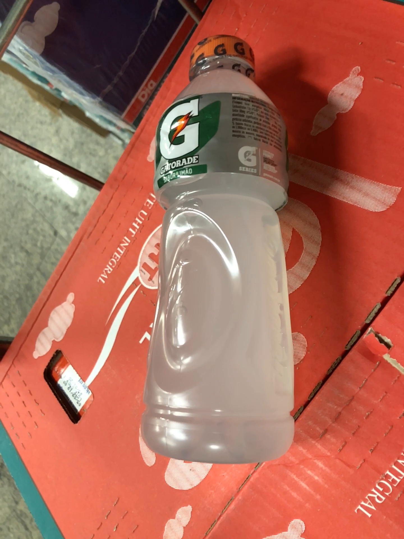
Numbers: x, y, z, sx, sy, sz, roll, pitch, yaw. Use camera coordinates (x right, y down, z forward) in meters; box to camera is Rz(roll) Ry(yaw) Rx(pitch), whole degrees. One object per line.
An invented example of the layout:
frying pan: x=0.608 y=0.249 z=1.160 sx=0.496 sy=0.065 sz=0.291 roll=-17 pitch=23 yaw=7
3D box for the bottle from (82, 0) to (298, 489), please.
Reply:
bottle: x=-0.001 y=-0.020 z=0.217 sx=0.070 sy=0.060 sz=0.210 roll=-7 pitch=74 yaw=33

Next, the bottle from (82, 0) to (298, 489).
bottle: x=-0.001 y=-0.020 z=0.217 sx=0.070 sy=0.060 sz=0.210 roll=-7 pitch=74 yaw=33
